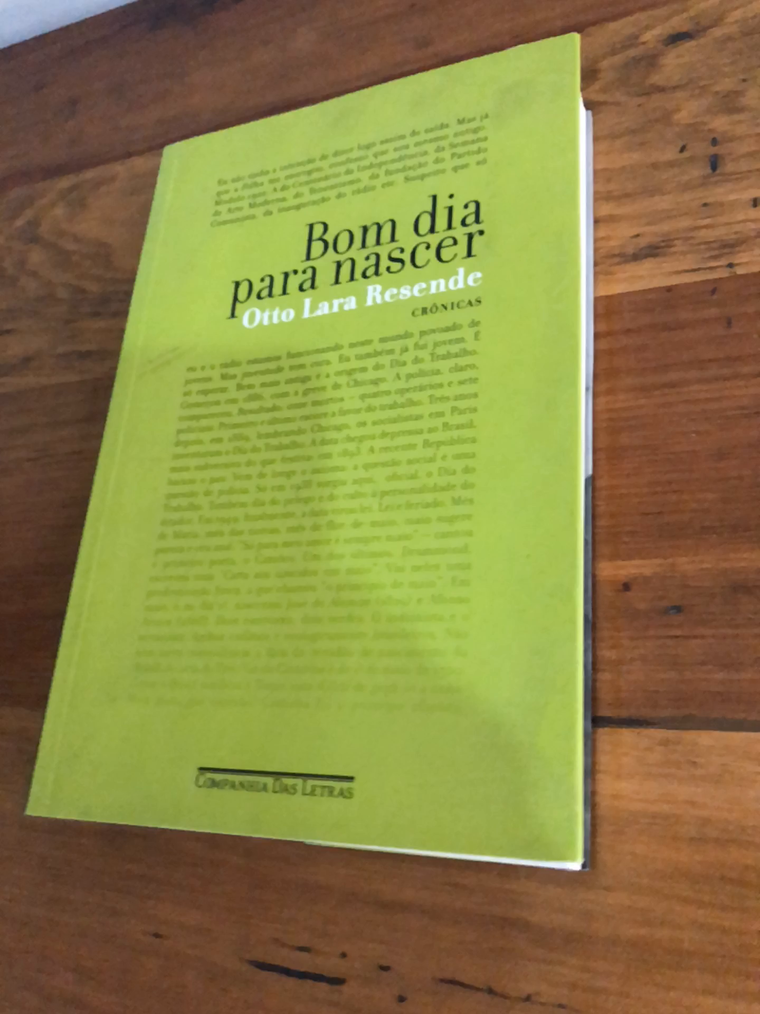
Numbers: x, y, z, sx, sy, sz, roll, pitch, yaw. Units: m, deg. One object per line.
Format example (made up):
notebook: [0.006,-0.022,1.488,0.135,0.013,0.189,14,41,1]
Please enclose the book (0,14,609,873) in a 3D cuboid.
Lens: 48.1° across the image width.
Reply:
book: [-0.013,-0.024,0.225,0.136,0.030,0.209,-4,67,22]
